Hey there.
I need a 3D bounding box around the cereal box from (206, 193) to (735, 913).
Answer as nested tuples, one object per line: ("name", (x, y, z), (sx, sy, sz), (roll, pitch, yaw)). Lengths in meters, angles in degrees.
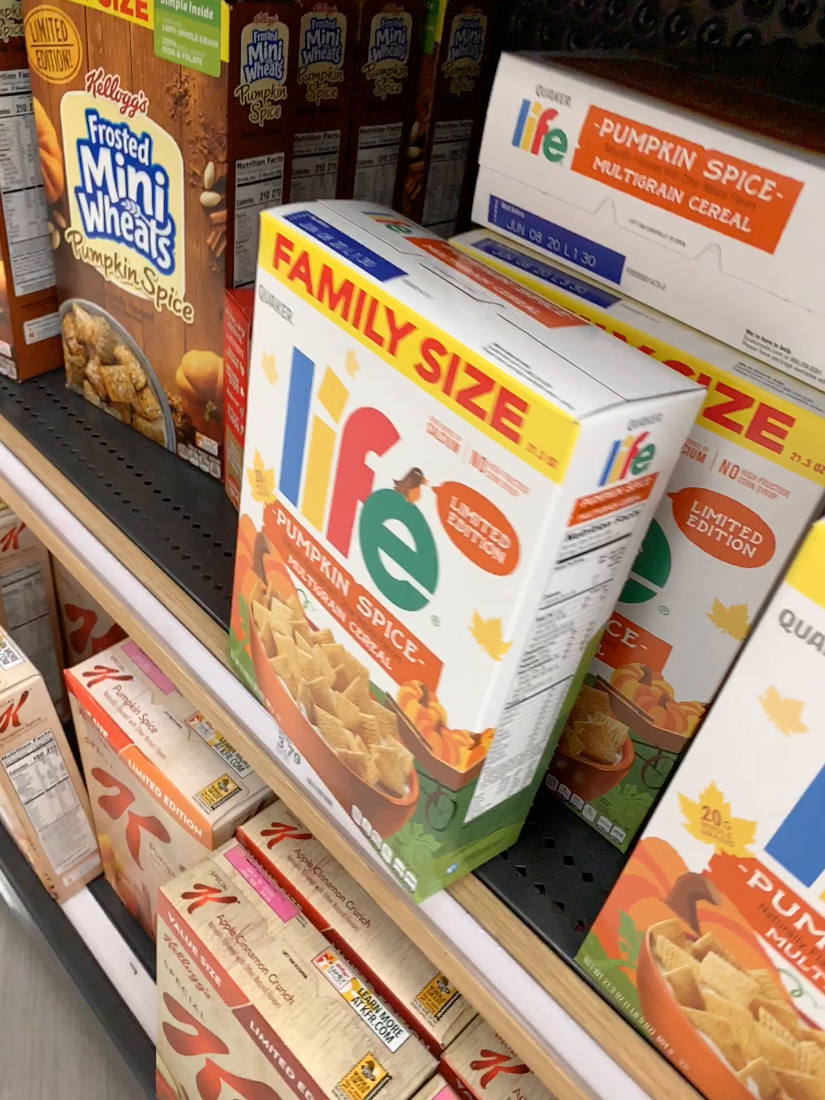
("cereal box", (-0.007, 0.000, 0.388), (0.070, 0.249, 0.201), (-17, 46, -36))
